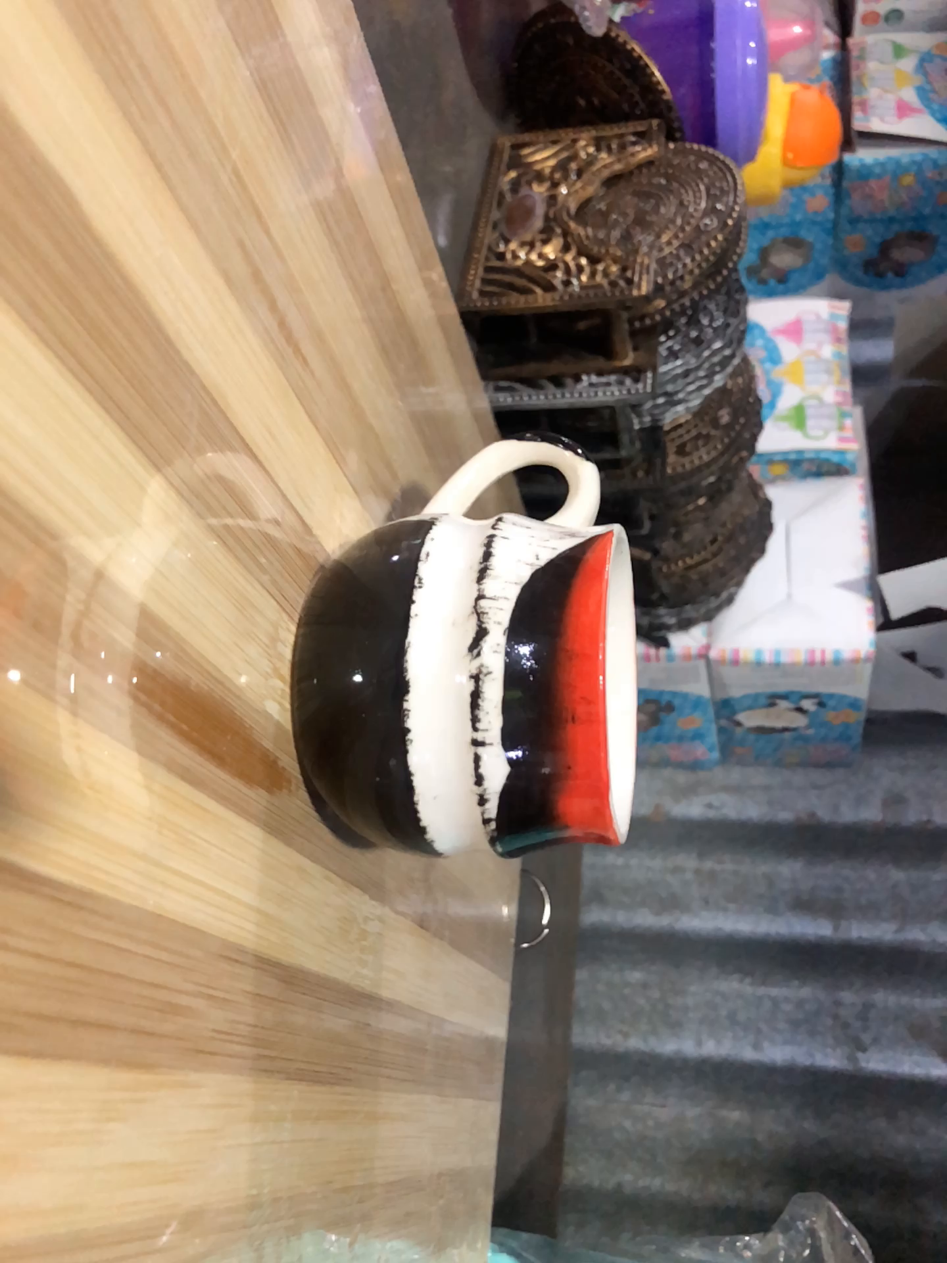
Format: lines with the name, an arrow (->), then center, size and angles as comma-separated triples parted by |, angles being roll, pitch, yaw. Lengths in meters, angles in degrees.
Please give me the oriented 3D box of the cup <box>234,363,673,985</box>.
cup -> 0.007, 0.008, 0.211 | 0.080, 0.060, 0.090 | 76, 19, -48
